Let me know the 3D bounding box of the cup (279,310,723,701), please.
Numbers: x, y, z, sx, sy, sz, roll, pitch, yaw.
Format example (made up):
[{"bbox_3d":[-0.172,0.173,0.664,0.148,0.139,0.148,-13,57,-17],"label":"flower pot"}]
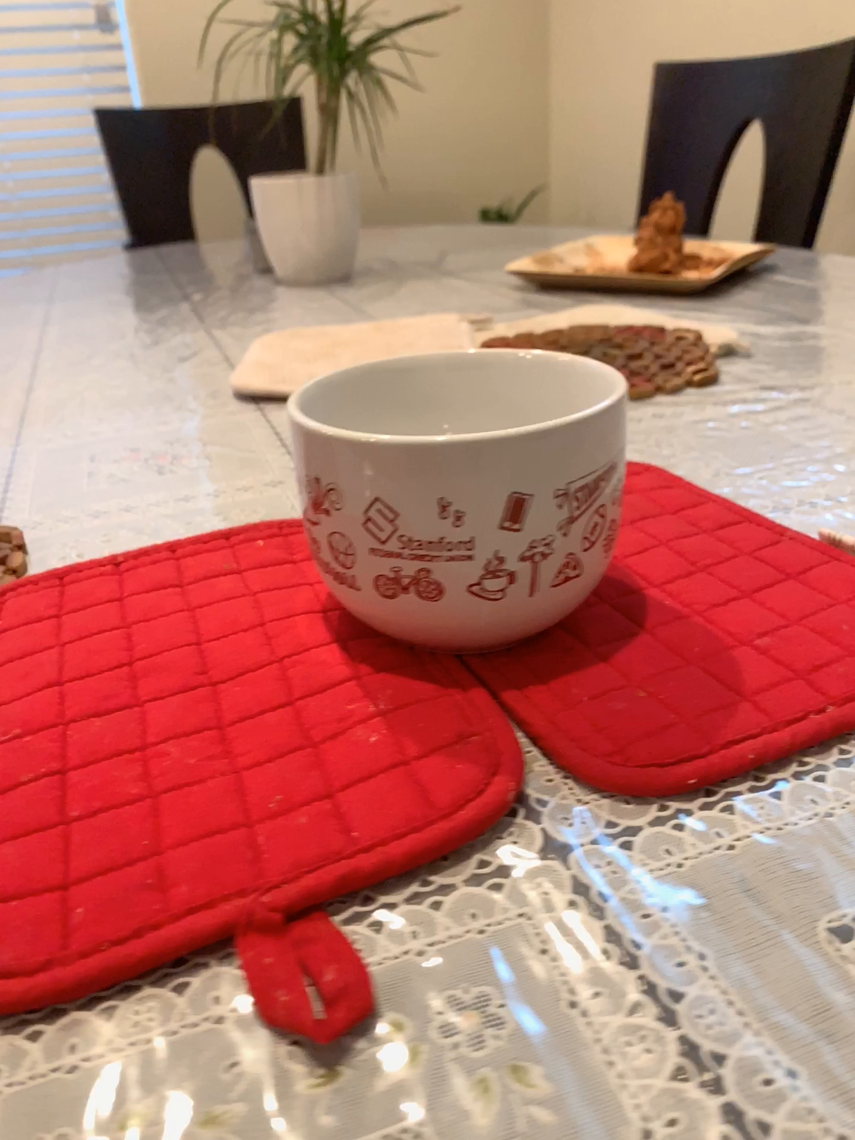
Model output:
[{"bbox_3d":[0.013,-0.035,0.318,0.120,0.079,0.141,-7,27,-7],"label":"cup"}]
